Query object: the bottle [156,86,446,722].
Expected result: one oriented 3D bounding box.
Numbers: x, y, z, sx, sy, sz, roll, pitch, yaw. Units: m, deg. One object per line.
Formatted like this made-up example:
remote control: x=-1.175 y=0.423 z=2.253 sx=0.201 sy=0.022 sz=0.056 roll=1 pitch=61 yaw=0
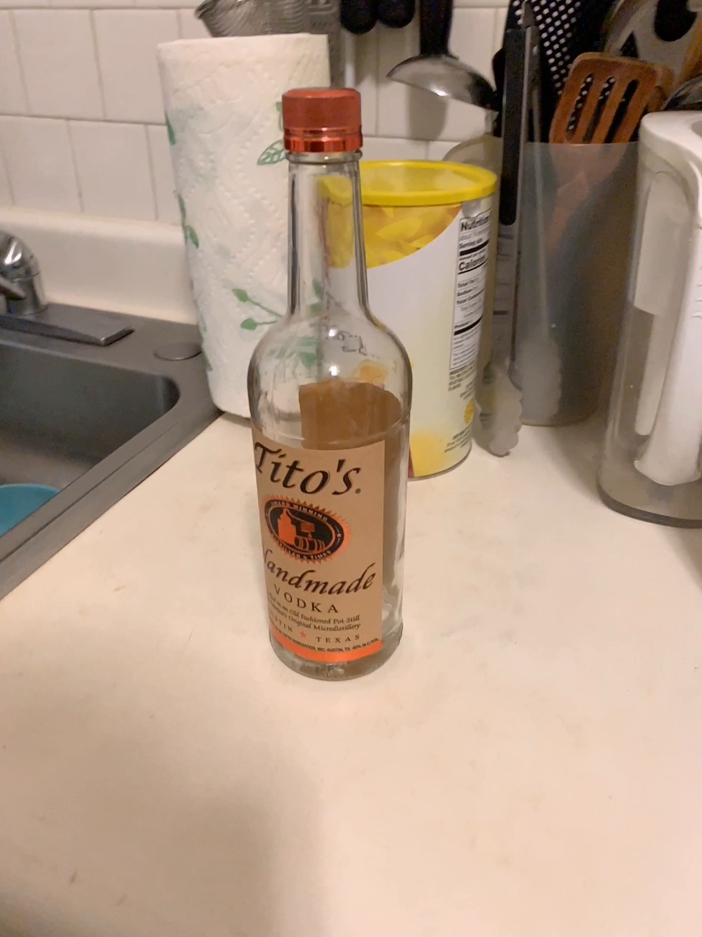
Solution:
bottle: x=-0.018 y=-0.019 z=0.351 sx=0.080 sy=0.288 sz=0.080 roll=0 pitch=31 yaw=0
